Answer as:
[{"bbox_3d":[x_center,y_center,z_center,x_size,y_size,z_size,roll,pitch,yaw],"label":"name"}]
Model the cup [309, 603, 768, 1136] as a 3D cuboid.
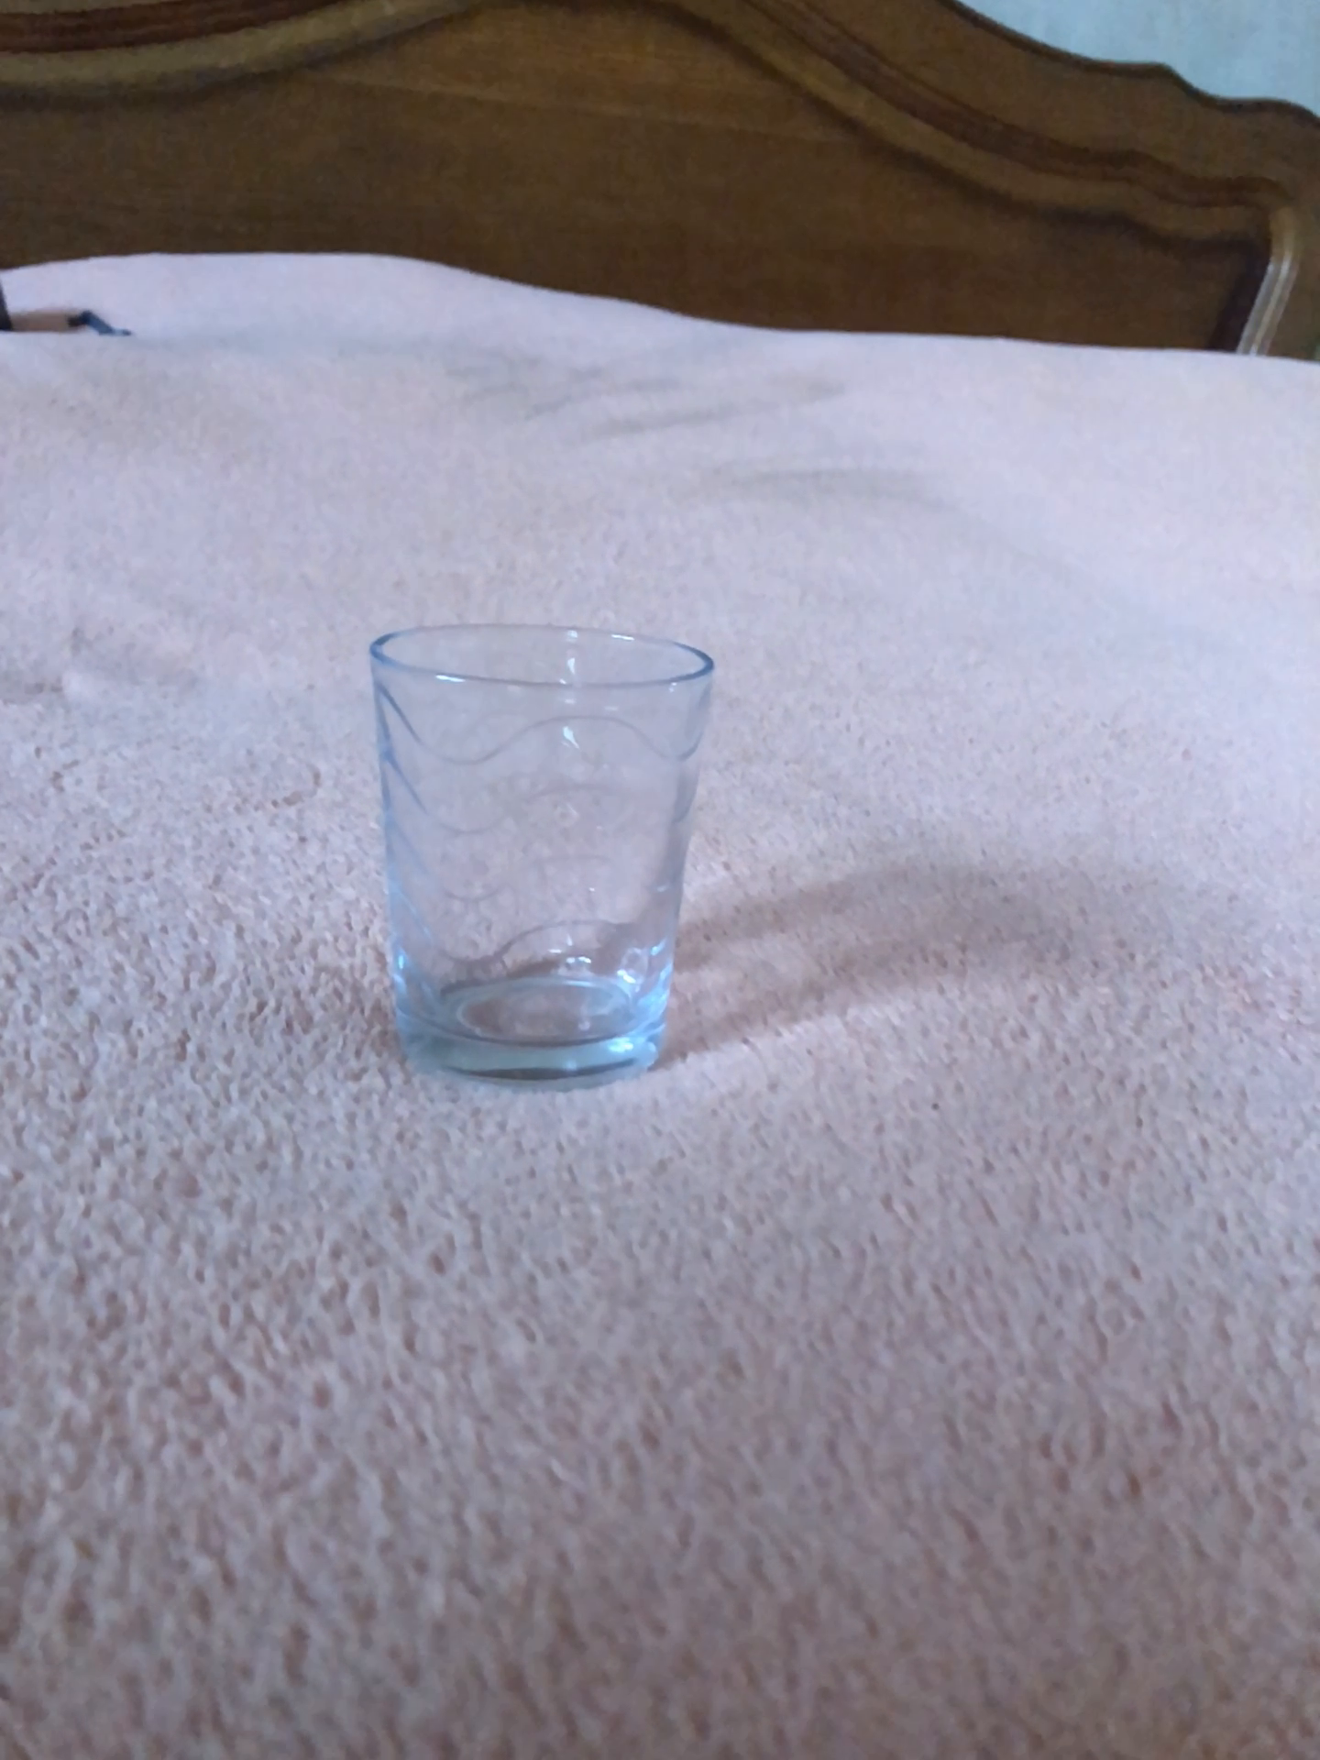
[{"bbox_3d":[-0.023,-0.007,0.280,0.060,0.080,0.060,3,18,-1],"label":"cup"}]
